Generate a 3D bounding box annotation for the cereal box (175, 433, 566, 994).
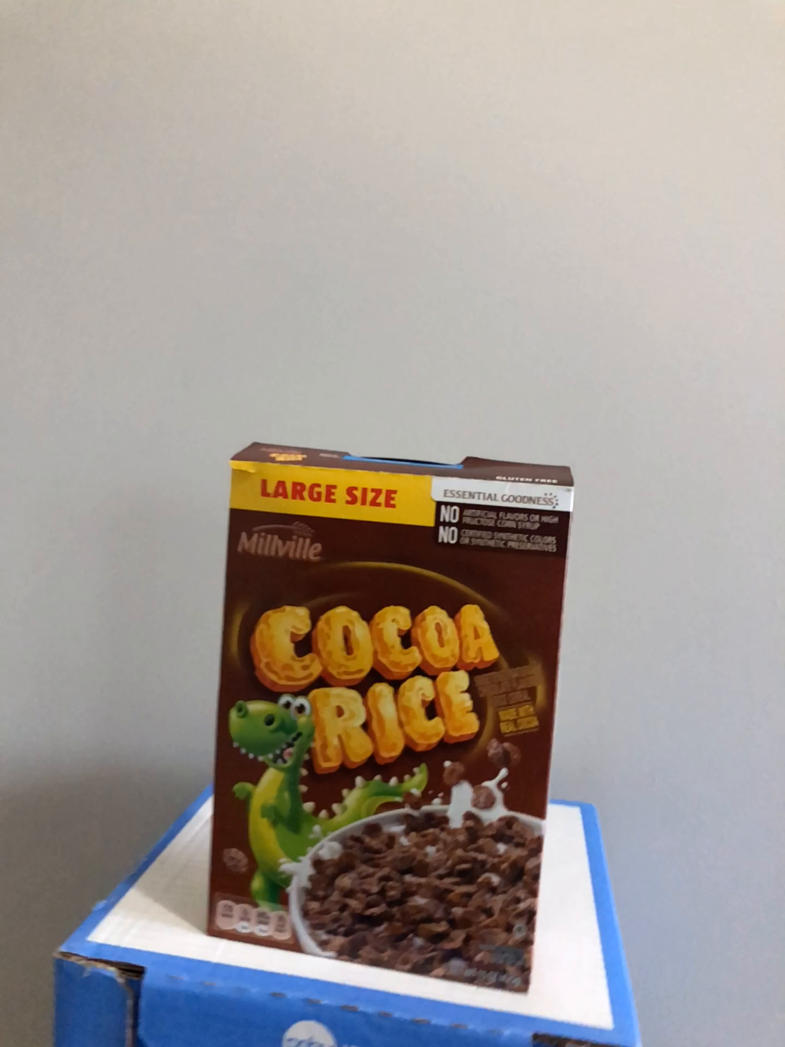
[{"bbox_3d":[-0.013,0.100,0.508,0.200,0.290,0.060,5,5,10],"label":"cereal box"}]
